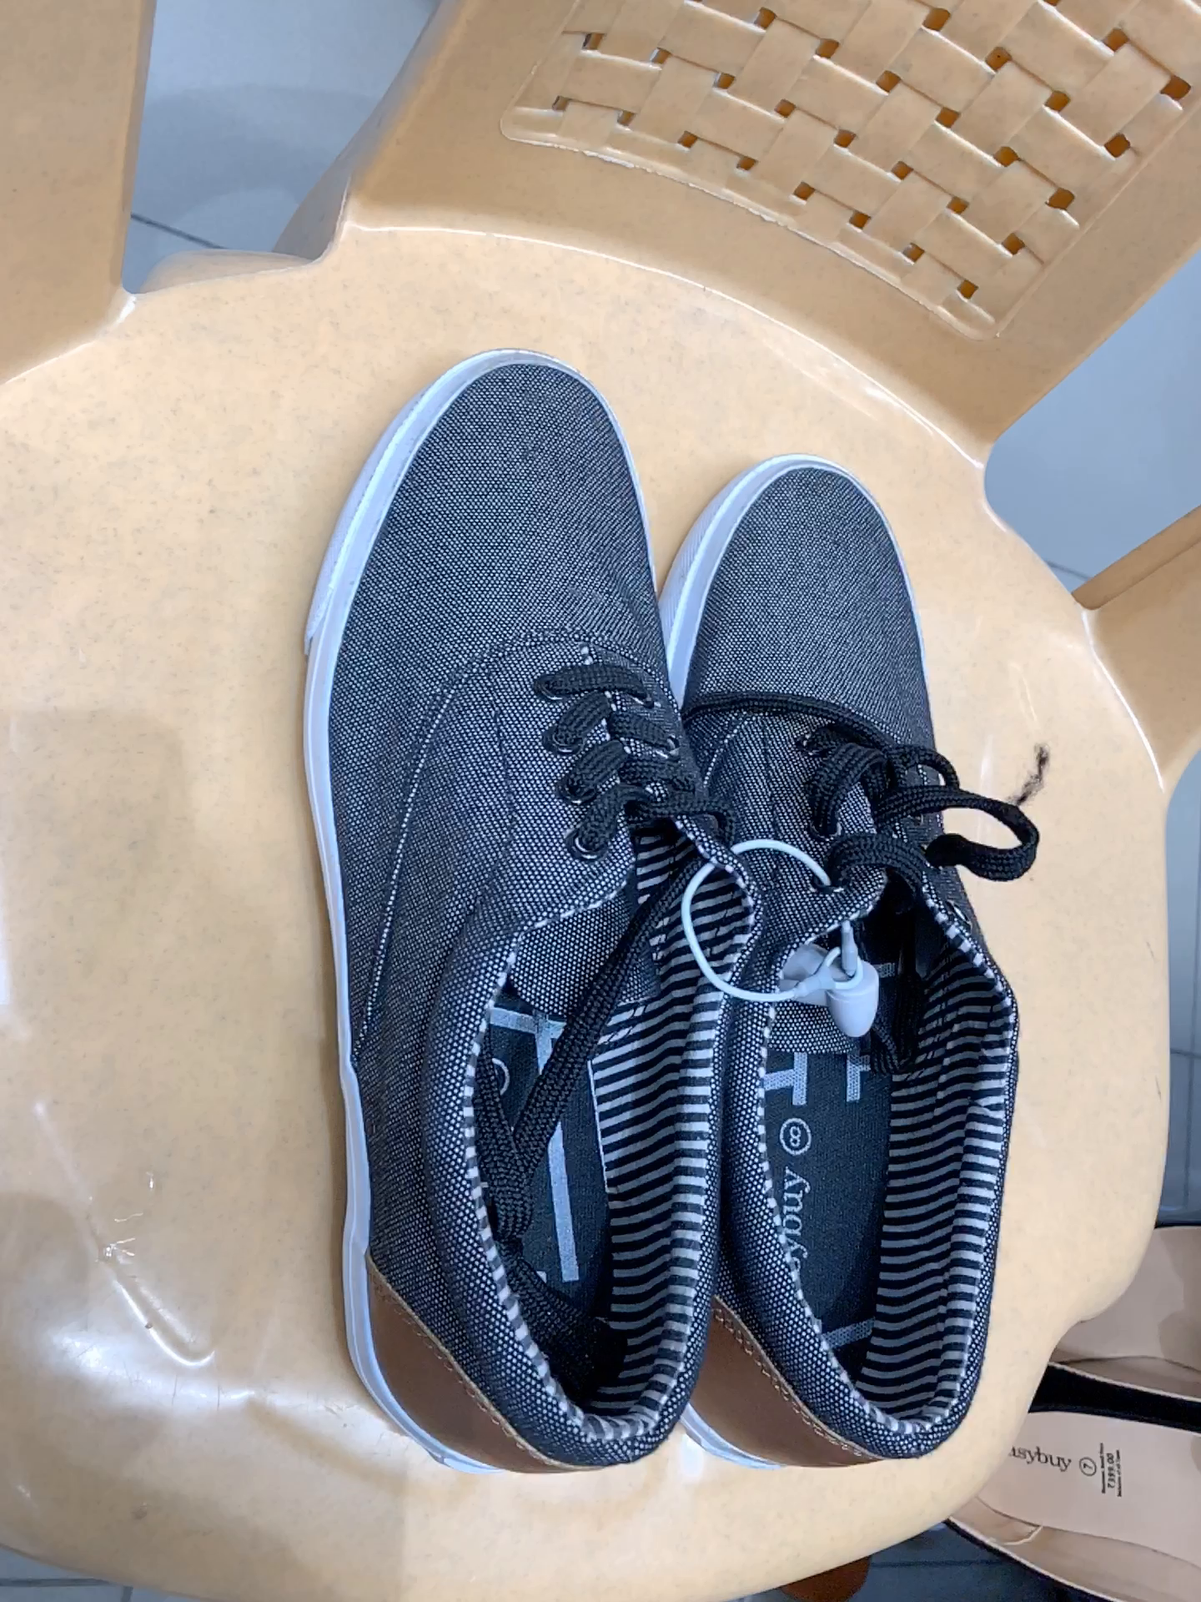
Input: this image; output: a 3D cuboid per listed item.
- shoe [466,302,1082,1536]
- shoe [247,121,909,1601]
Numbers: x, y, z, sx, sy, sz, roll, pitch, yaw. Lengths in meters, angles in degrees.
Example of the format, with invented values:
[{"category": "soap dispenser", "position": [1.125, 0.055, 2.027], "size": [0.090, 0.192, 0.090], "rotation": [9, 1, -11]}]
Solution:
[{"category": "shoe", "position": [0.047, 0.029, 0.341], "size": [0.110, 0.110, 0.270], "rotation": [10, 78, -22]}, {"category": "shoe", "position": [-0.009, 0.017, 0.273], "size": [0.100, 0.110, 0.260], "rotation": [6, 80, -23]}]
